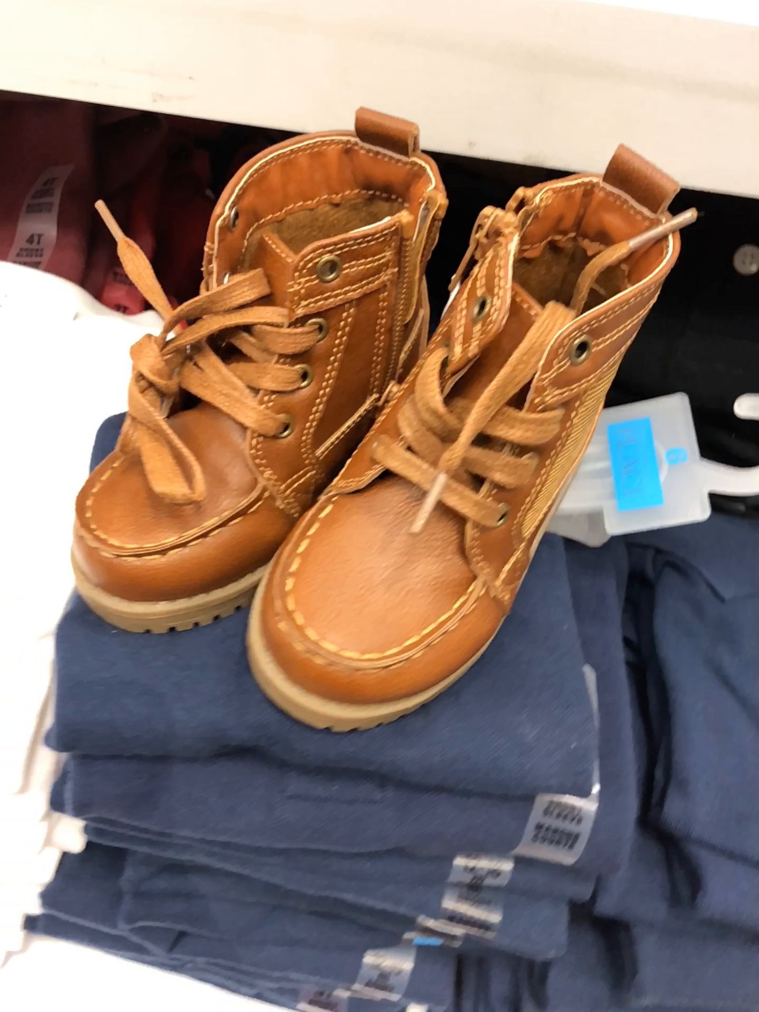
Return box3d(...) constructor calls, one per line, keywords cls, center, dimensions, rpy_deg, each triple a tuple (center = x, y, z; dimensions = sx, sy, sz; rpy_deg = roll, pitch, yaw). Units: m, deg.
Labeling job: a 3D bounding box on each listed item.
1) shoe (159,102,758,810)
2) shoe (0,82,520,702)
box3d(cls="shoe", center=(0.029, -0.019, 0.239), dimensions=(0.080, 0.101, 0.161), rpy_deg=(34, 57, 14))
box3d(cls="shoe", center=(-0.042, -0.040, 0.255), dimensions=(0.080, 0.101, 0.151), rpy_deg=(35, 57, 27))
